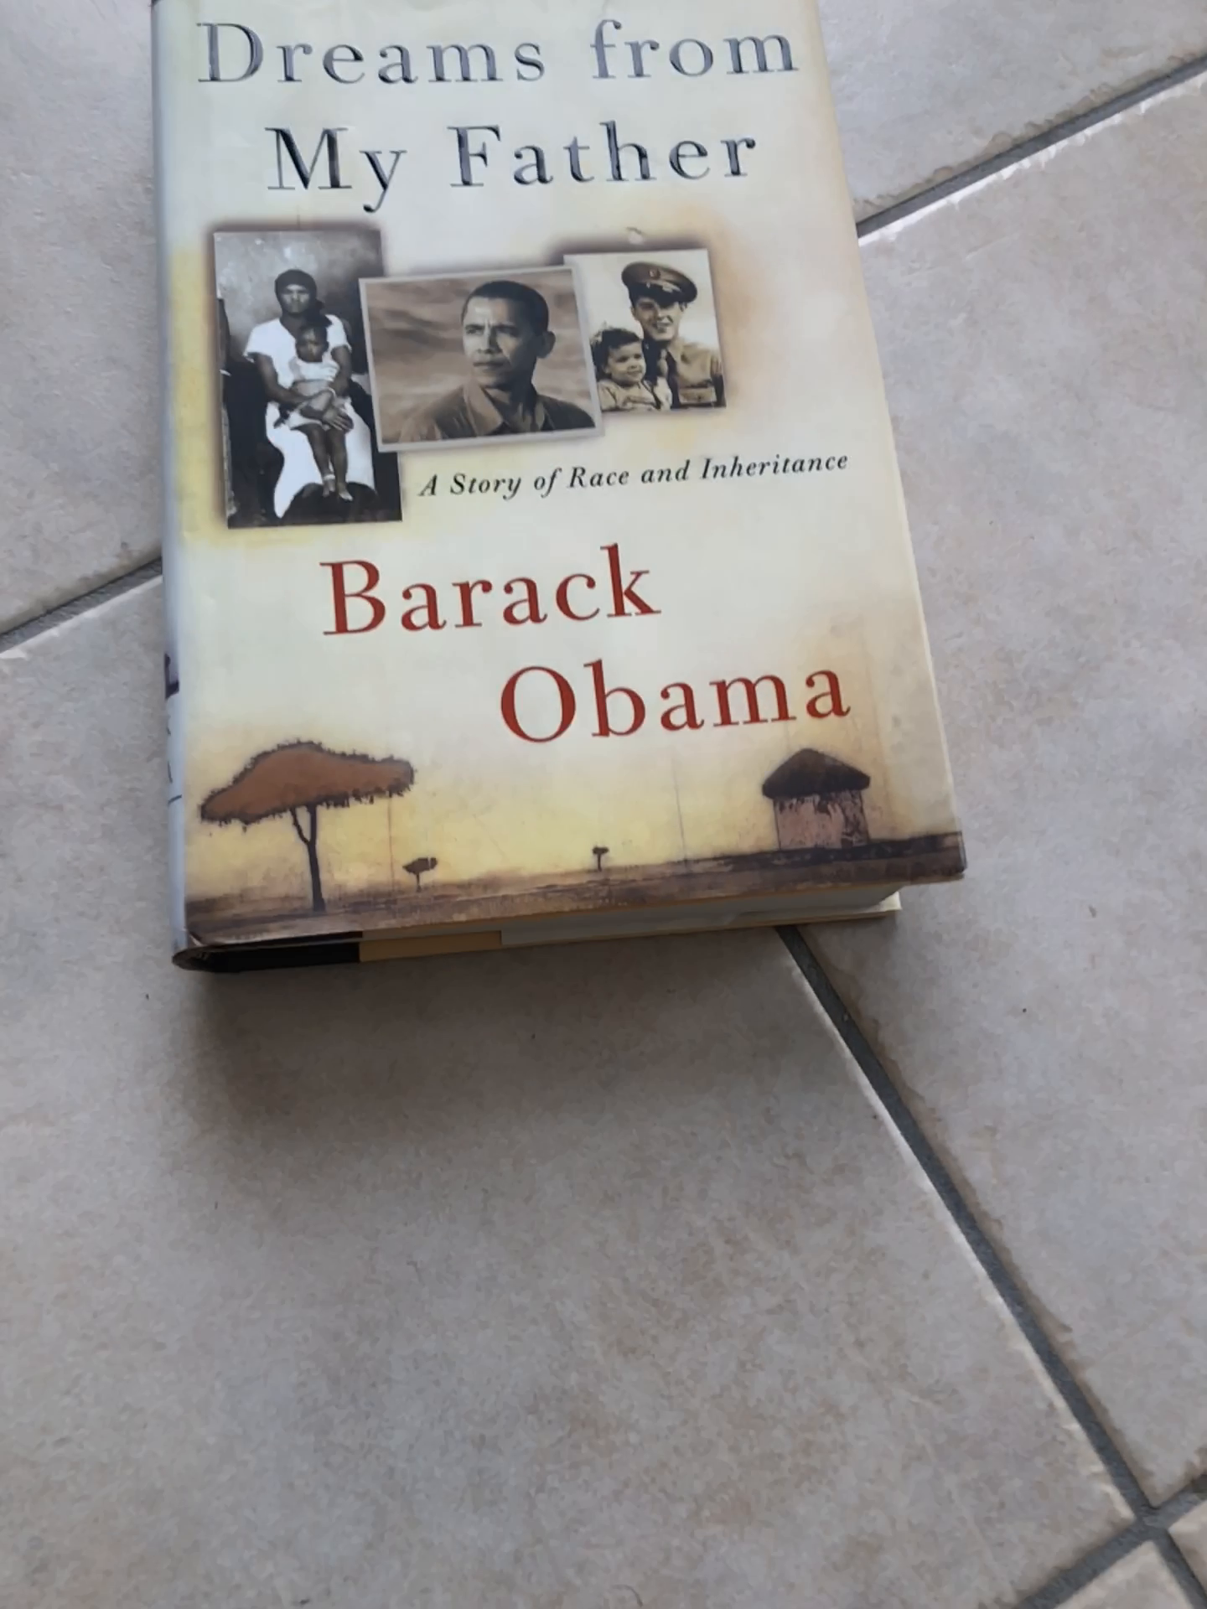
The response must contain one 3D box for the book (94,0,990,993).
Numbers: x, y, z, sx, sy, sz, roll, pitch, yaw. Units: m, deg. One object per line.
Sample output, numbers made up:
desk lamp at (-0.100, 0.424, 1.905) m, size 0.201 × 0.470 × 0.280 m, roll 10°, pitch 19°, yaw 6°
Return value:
book at (-0.022, -0.101, 0.310) m, size 0.170 × 0.050 × 0.270 m, roll -4°, pitch 76°, yaw -5°
